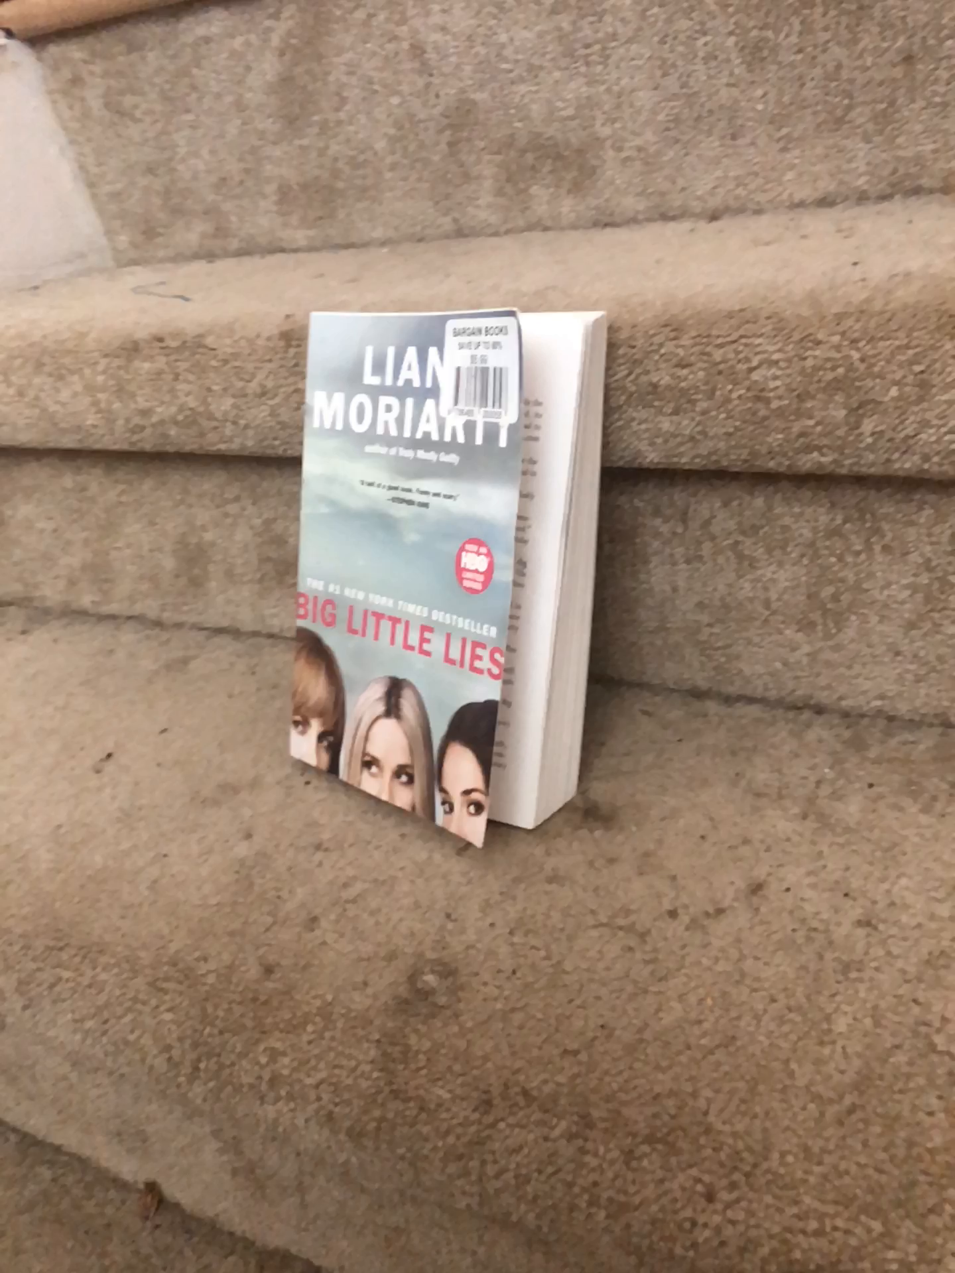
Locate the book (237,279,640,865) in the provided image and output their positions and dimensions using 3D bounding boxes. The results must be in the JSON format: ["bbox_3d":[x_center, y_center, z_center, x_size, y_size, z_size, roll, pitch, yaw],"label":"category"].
[{"bbox_3d":[-0.026,-0.036,0.440,0.161,0.209,0.050,14,14,38],"label":"book"}]
